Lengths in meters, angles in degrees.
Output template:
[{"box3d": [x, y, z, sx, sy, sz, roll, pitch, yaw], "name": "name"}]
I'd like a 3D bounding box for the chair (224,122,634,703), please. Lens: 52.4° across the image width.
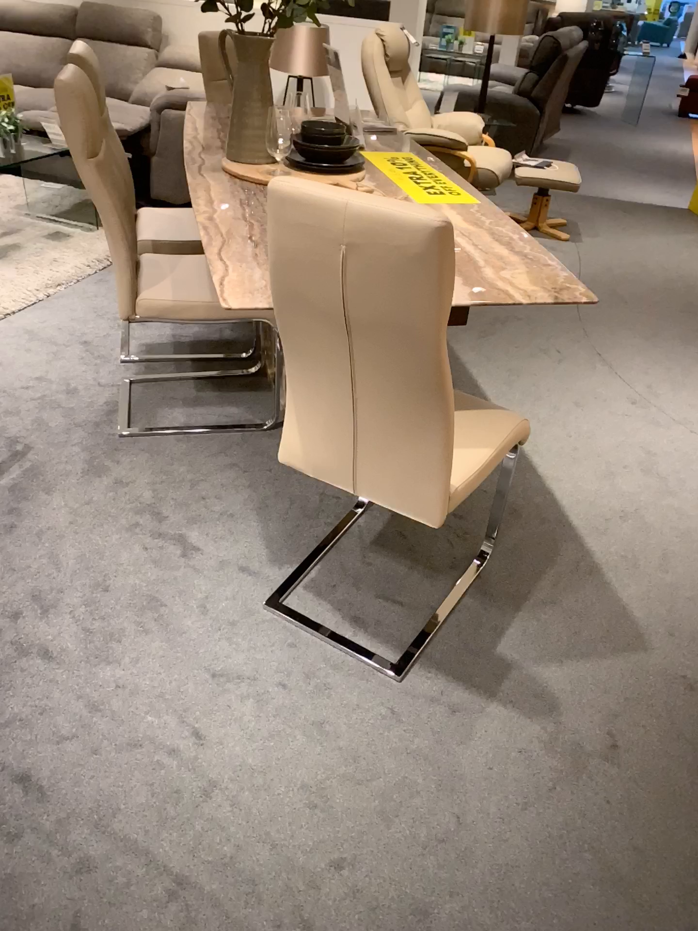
[{"box3d": [0.136, -0.132, 1.533, 0.528, 0.981, 0.587, 22, 38, 23], "name": "chair"}]
